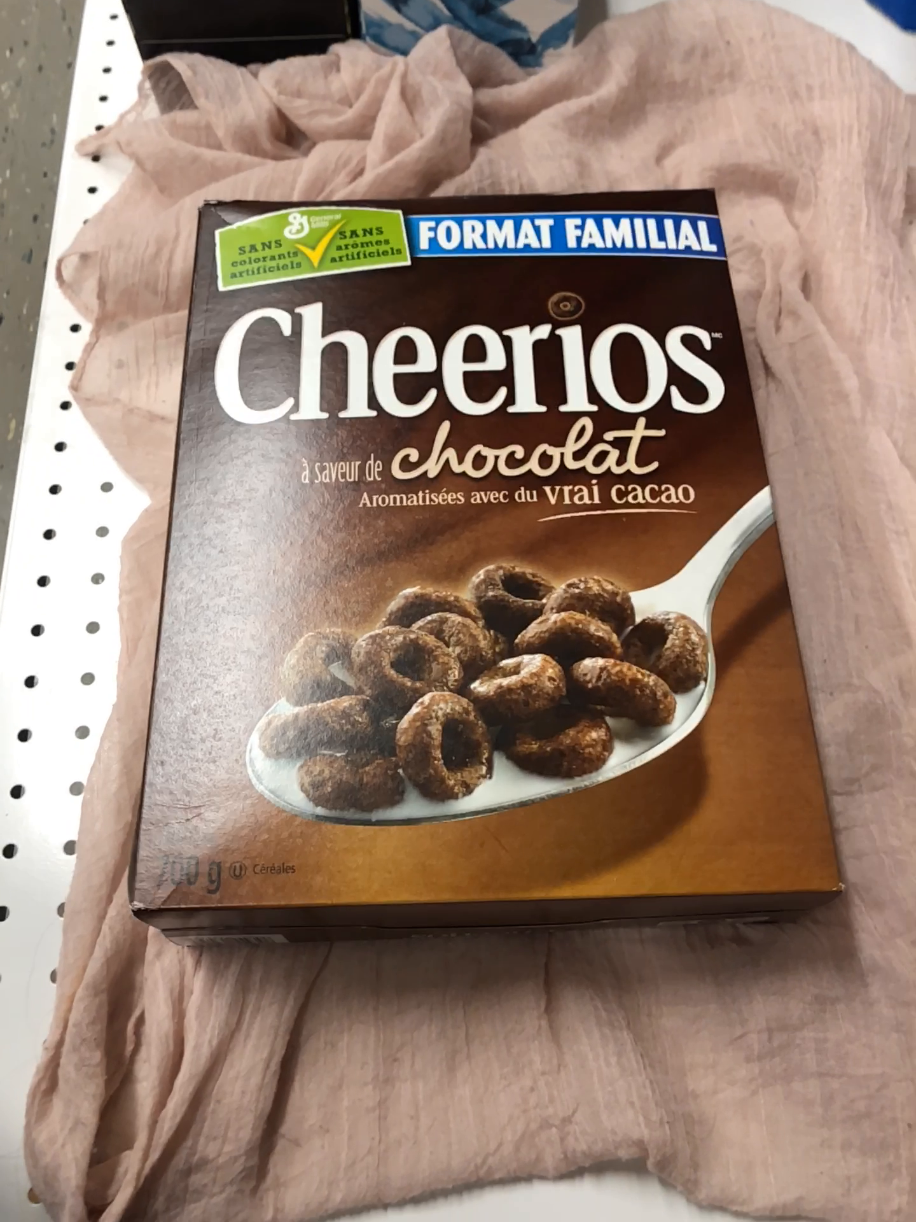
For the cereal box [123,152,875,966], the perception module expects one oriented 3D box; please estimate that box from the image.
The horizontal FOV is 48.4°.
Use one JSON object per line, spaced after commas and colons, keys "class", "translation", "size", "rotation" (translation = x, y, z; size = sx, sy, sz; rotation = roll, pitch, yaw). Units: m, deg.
{"class": "cereal box", "translation": [0.009, -0.035, 0.425], "size": [0.230, 0.090, 0.331], "rotation": [-2, 64, 0]}
